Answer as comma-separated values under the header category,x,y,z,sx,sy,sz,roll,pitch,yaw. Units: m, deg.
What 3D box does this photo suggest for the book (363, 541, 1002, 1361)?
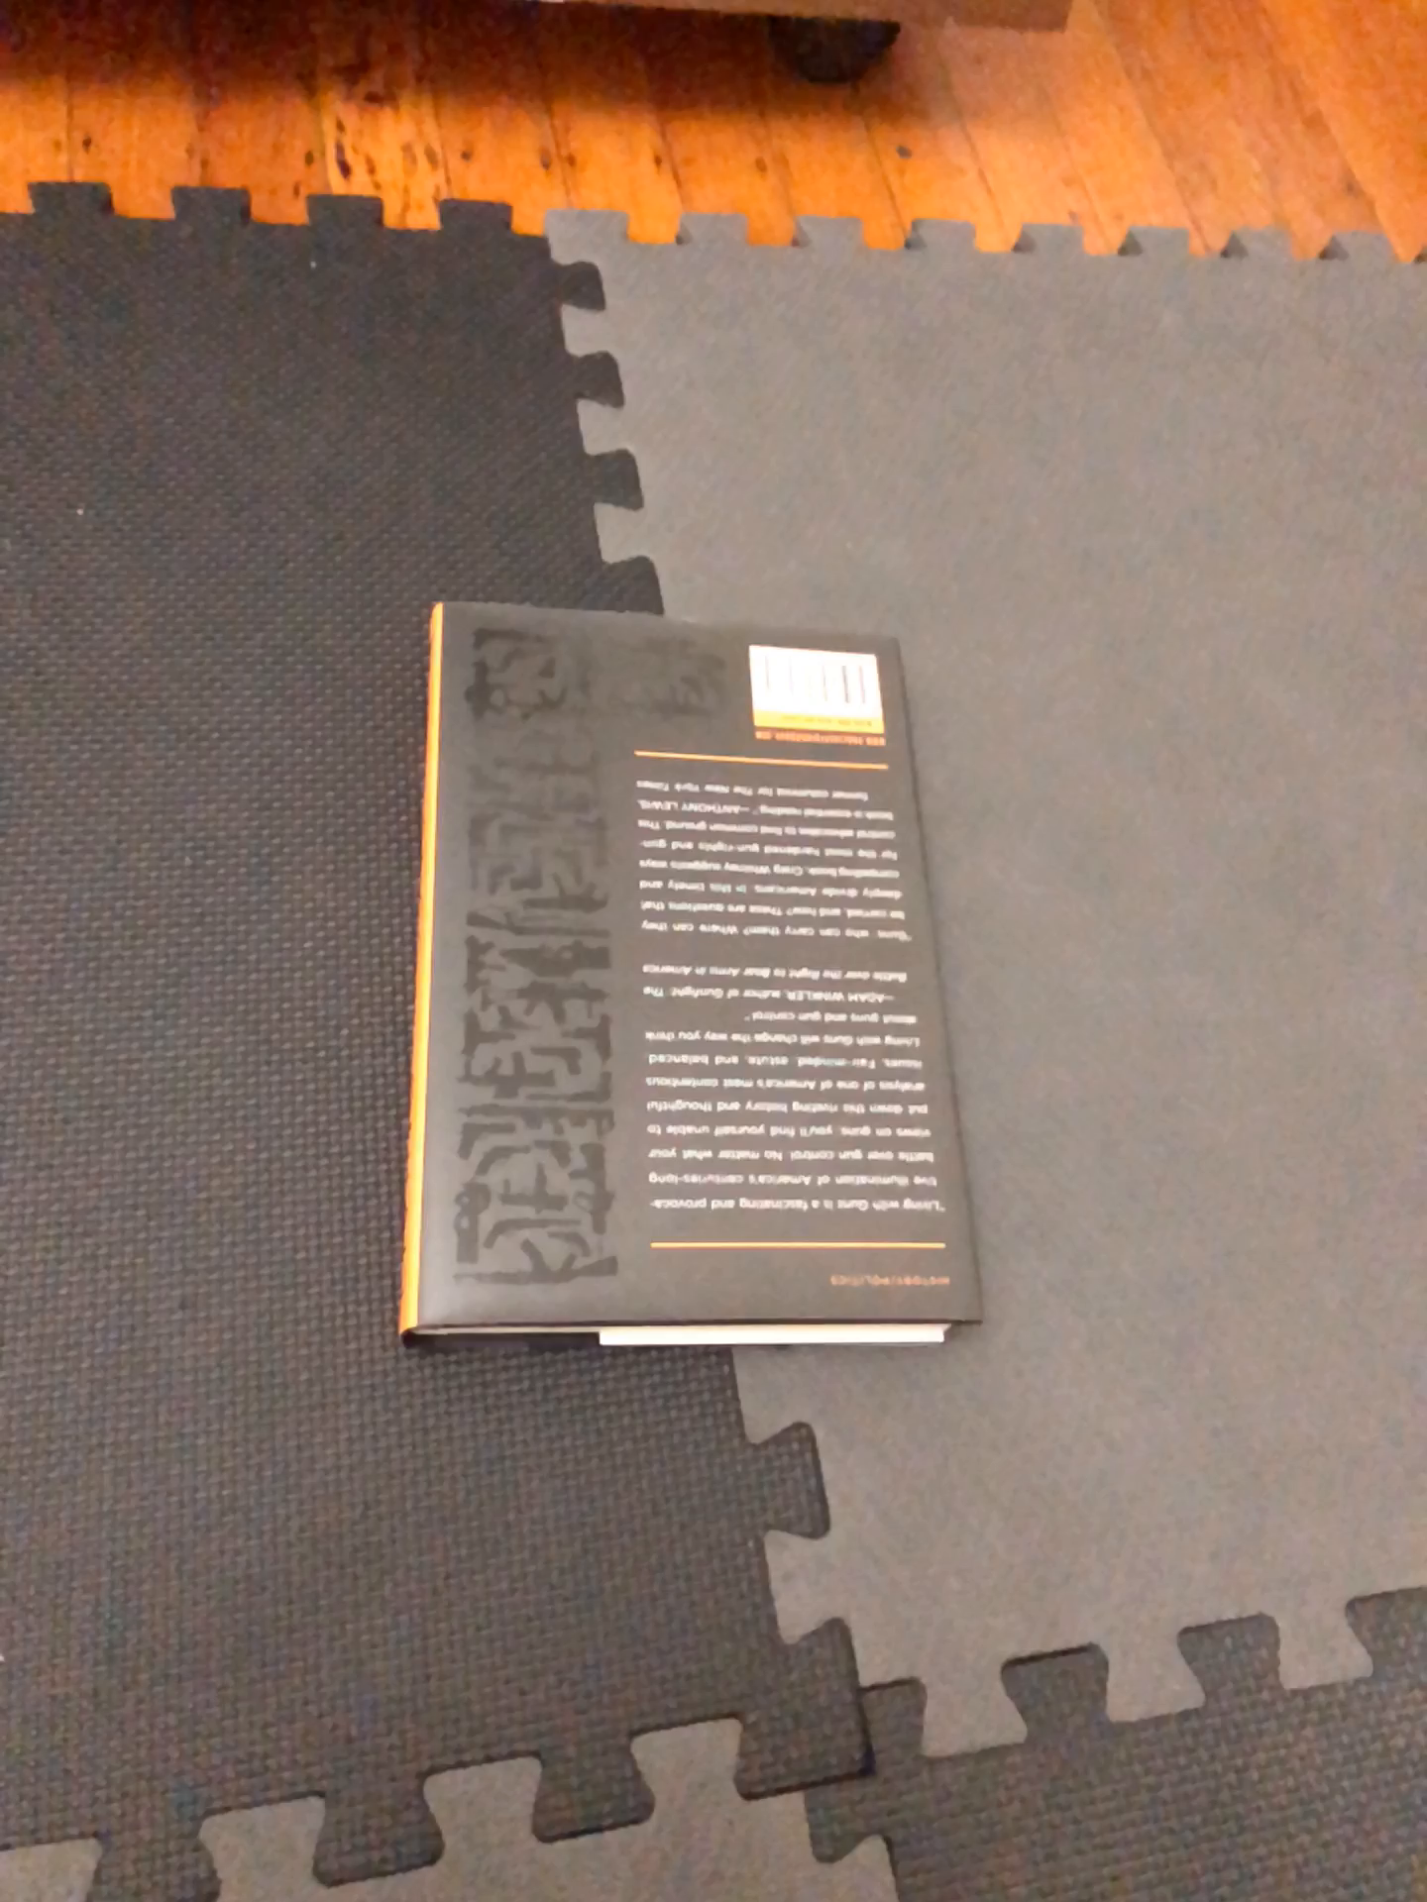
category,x,y,z,sx,sy,sz,roll,pitch,yaw
book,-0.014,-0.008,0.493,0.170,0.040,0.261,2,62,-9
